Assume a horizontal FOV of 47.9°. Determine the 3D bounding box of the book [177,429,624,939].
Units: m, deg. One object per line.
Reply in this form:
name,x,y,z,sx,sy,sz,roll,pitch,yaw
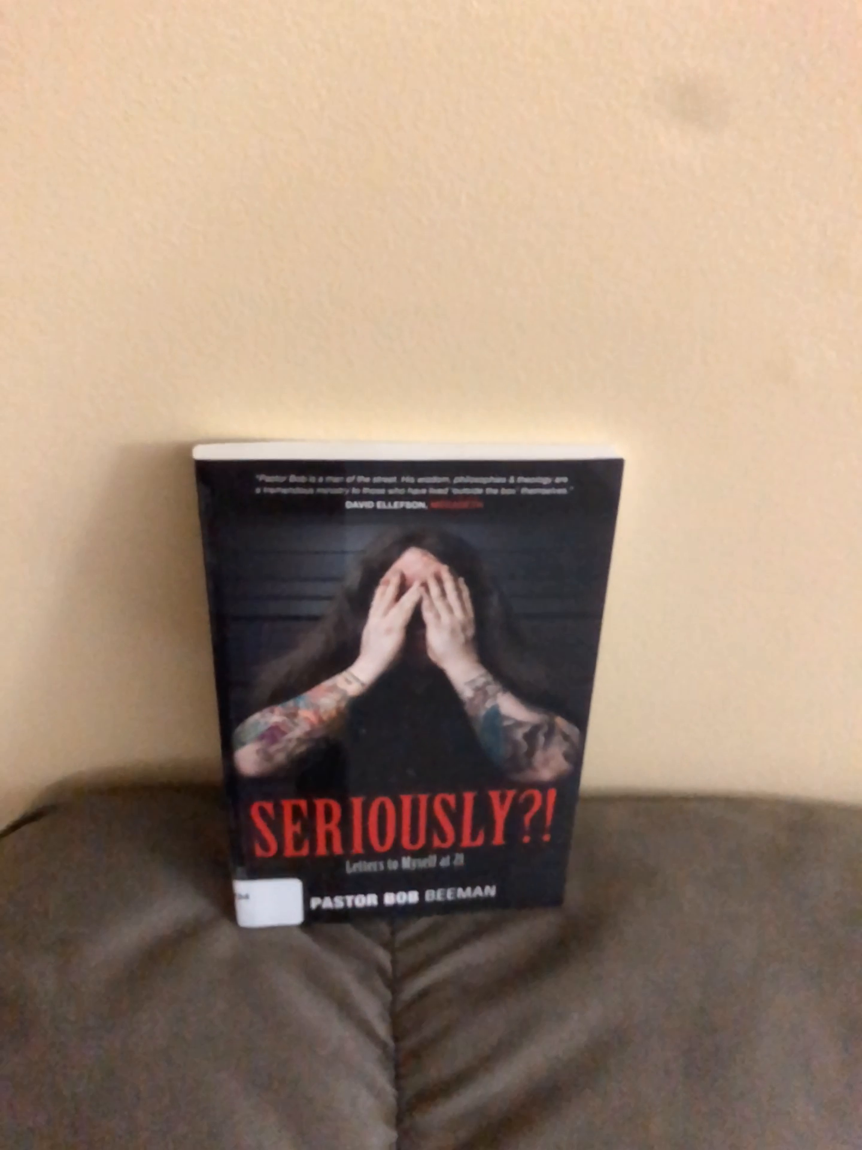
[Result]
book,-0.011,0.049,0.356,0.136,0.205,0.023,-2,30,-6
